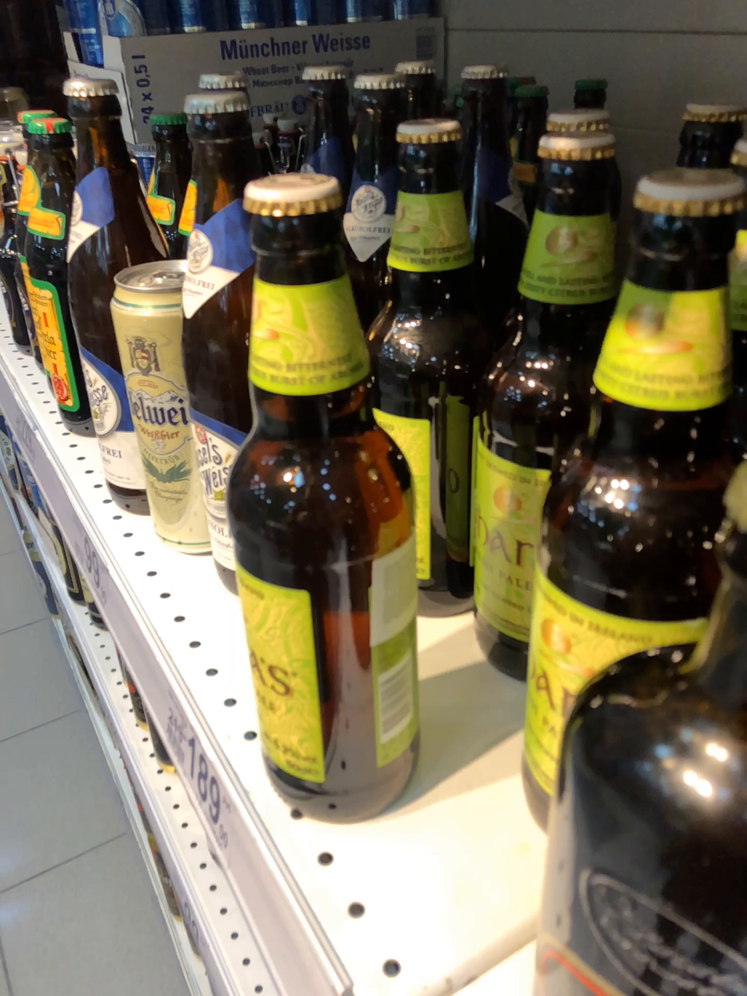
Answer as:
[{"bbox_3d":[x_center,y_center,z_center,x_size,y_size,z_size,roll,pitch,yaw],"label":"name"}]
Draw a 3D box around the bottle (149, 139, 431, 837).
[{"bbox_3d":[-0.016,0.011,0.297,0.070,0.250,0.070,-2,31,1],"label":"bottle"}]
